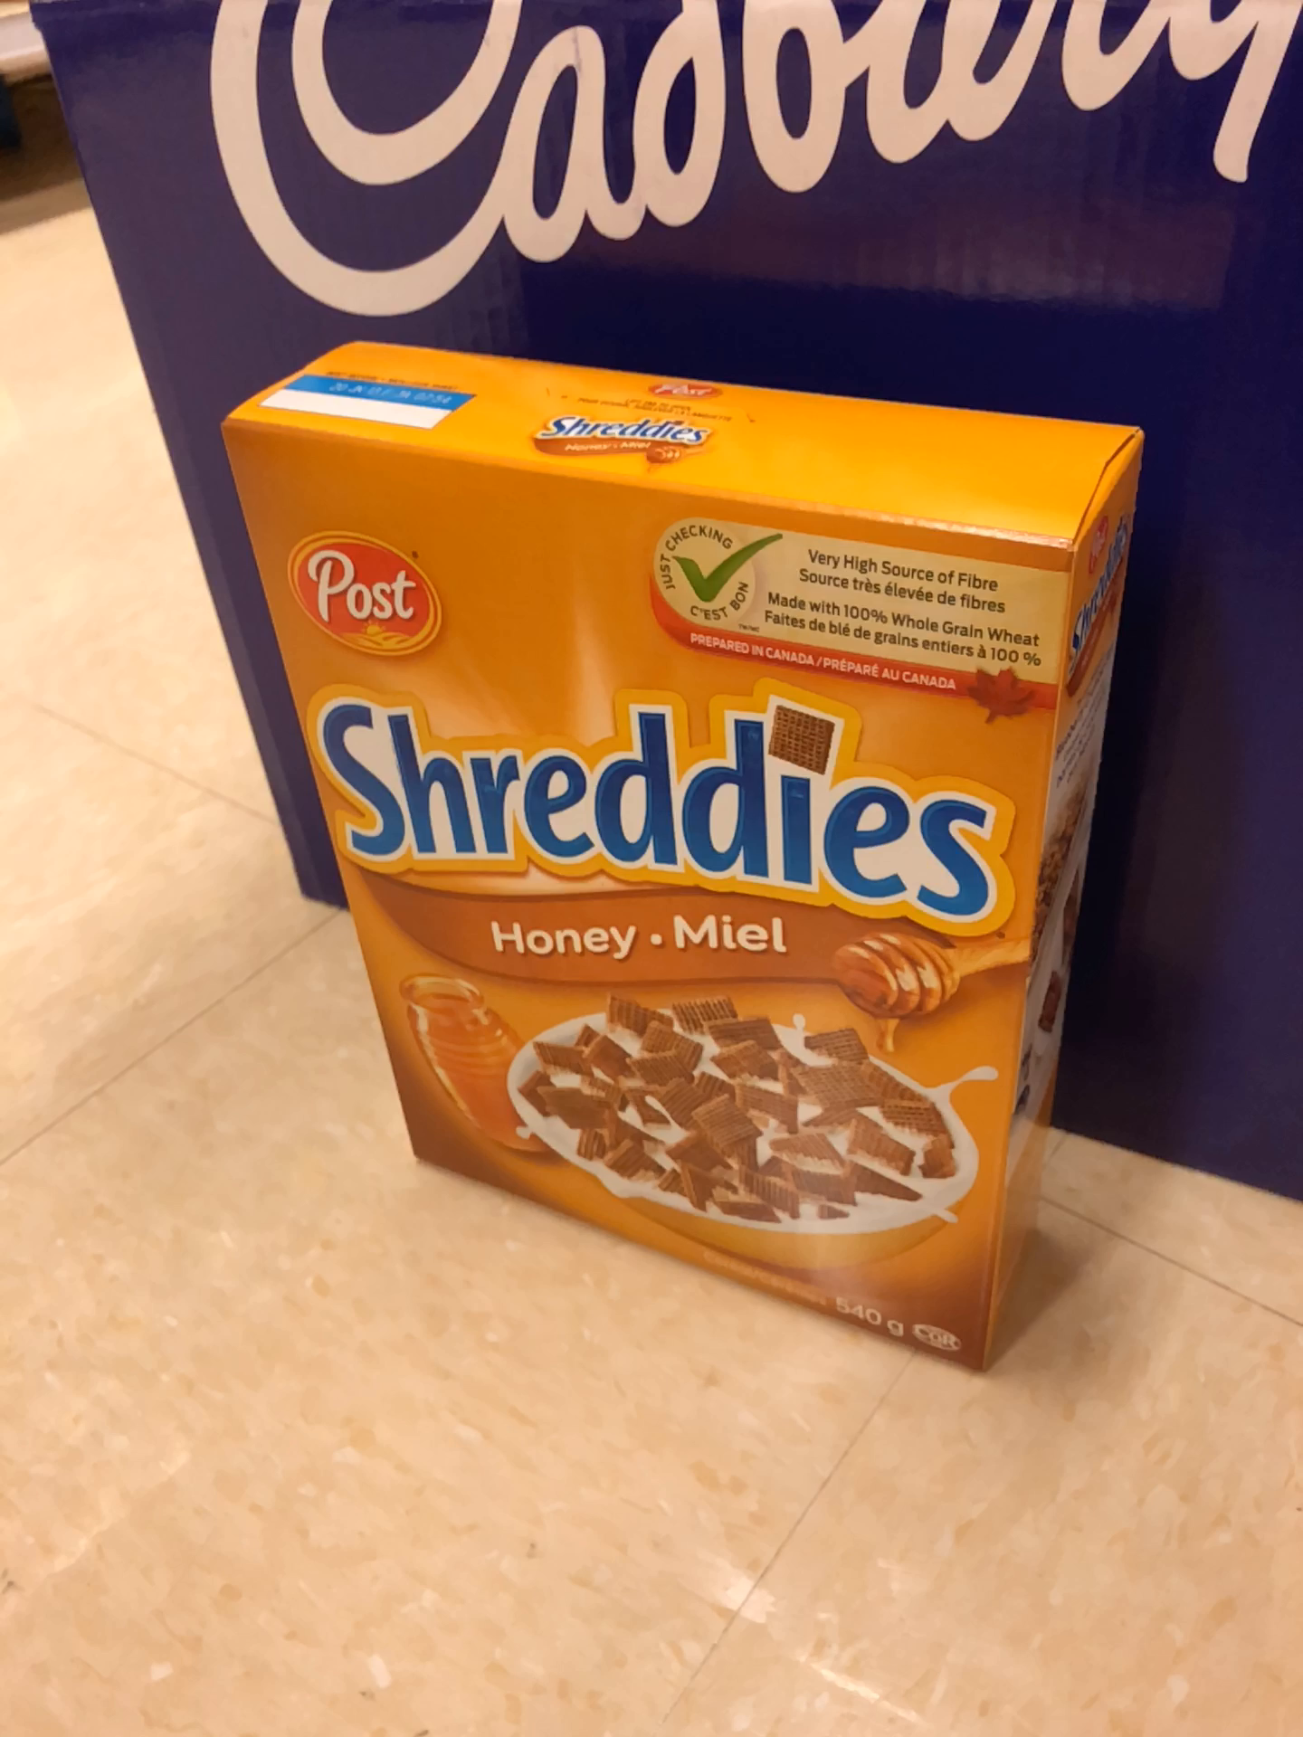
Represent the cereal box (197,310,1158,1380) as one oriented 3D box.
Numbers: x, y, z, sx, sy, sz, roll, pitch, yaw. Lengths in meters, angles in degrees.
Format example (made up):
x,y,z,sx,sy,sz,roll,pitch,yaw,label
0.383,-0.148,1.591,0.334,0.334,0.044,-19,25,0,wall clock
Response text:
x,y,z,sx,sy,sz,roll,pitch,yaw,label
0.011,0.000,0.414,0.210,0.278,0.070,14,43,24,cereal box
